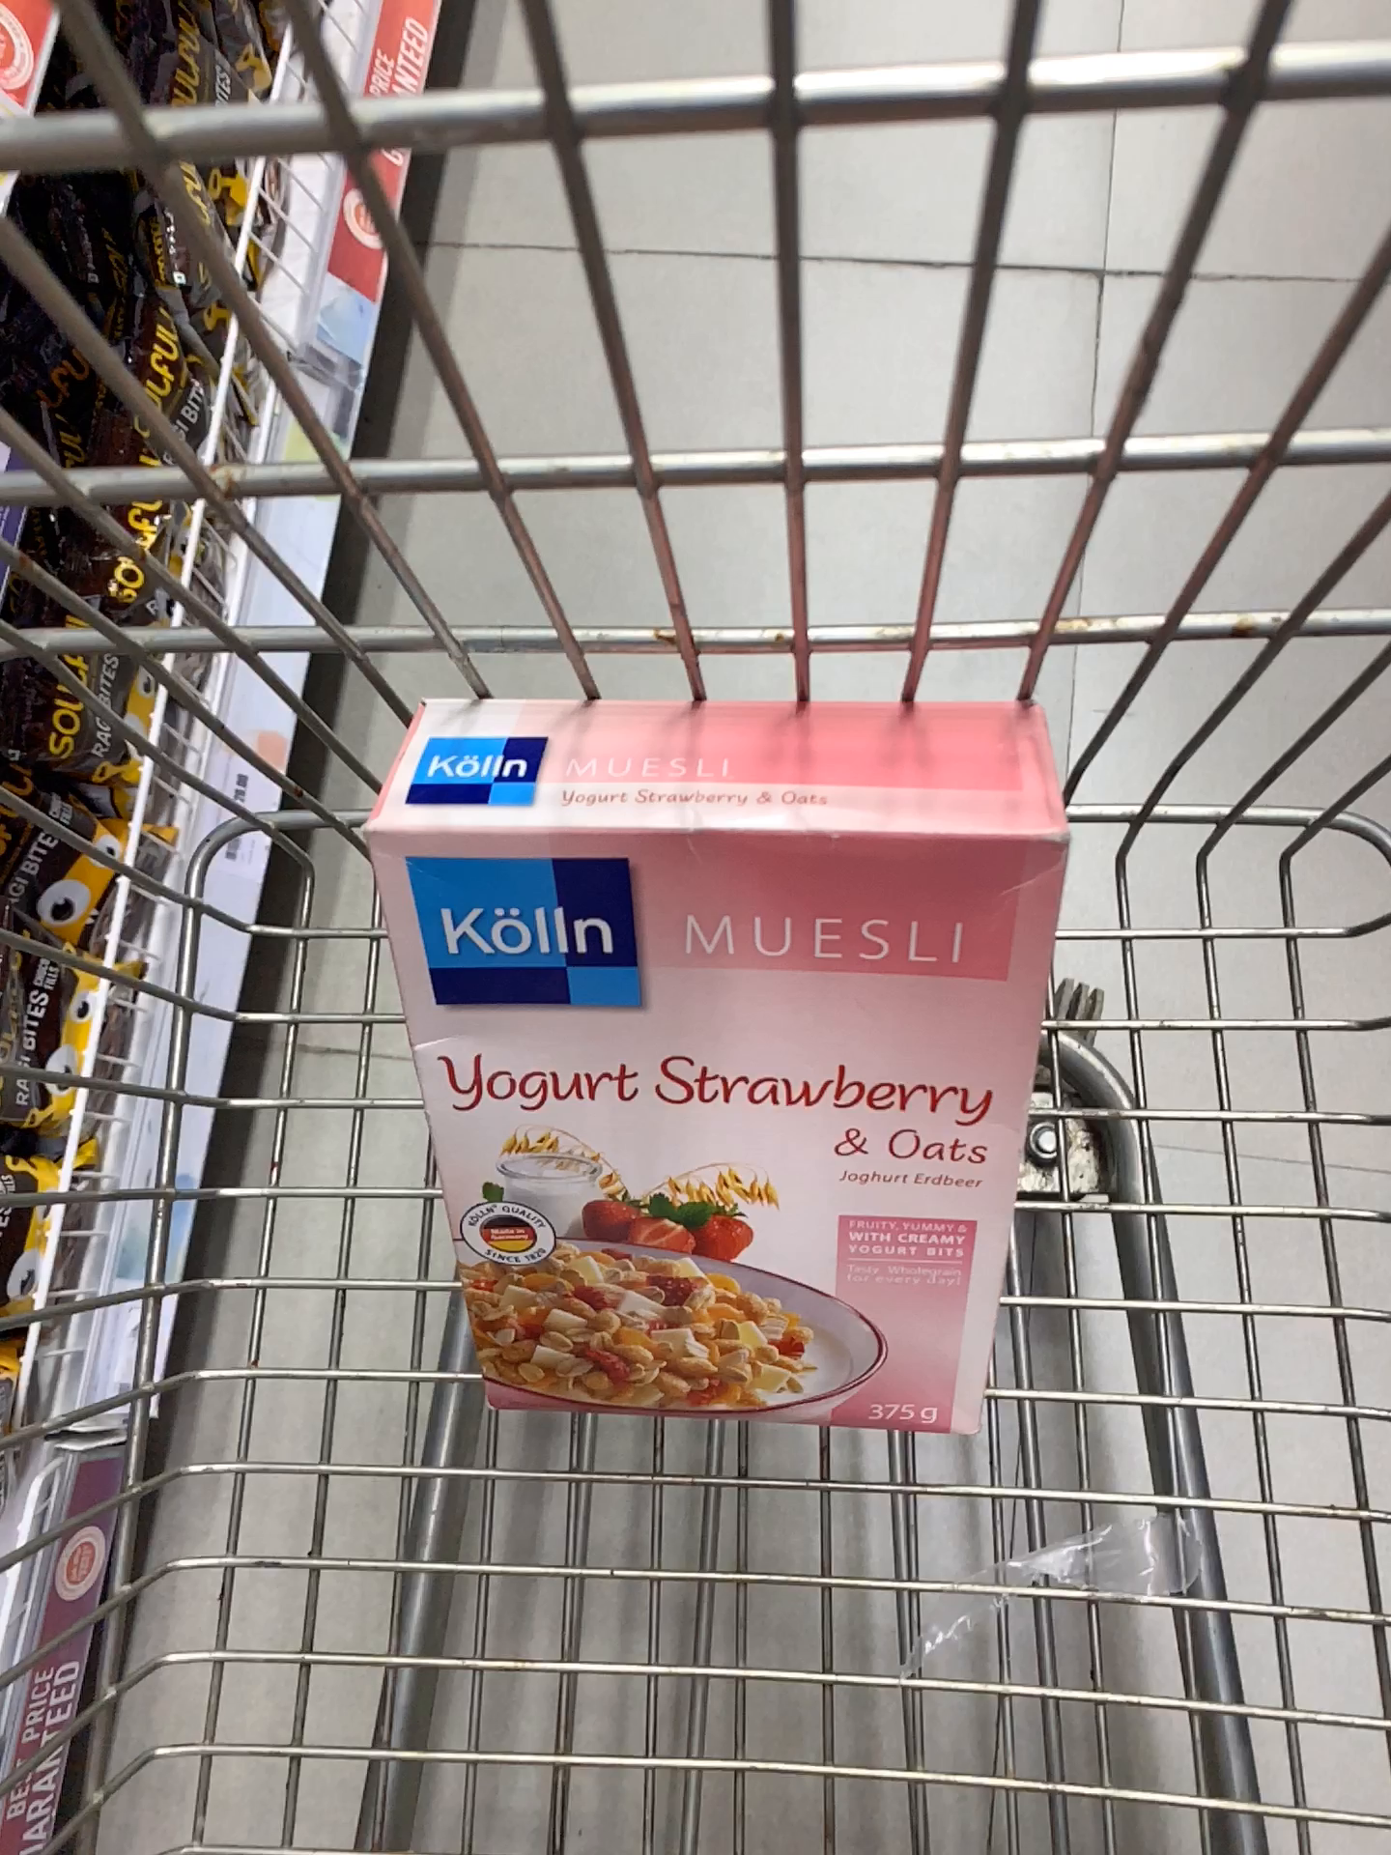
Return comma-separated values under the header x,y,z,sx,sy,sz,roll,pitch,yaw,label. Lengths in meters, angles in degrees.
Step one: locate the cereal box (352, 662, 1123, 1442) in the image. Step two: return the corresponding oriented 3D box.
x,y,z,sx,sy,sz,roll,pitch,yaw,label
0.013,0.043,0.364,0.150,0.220,0.050,1,38,5,cereal box
